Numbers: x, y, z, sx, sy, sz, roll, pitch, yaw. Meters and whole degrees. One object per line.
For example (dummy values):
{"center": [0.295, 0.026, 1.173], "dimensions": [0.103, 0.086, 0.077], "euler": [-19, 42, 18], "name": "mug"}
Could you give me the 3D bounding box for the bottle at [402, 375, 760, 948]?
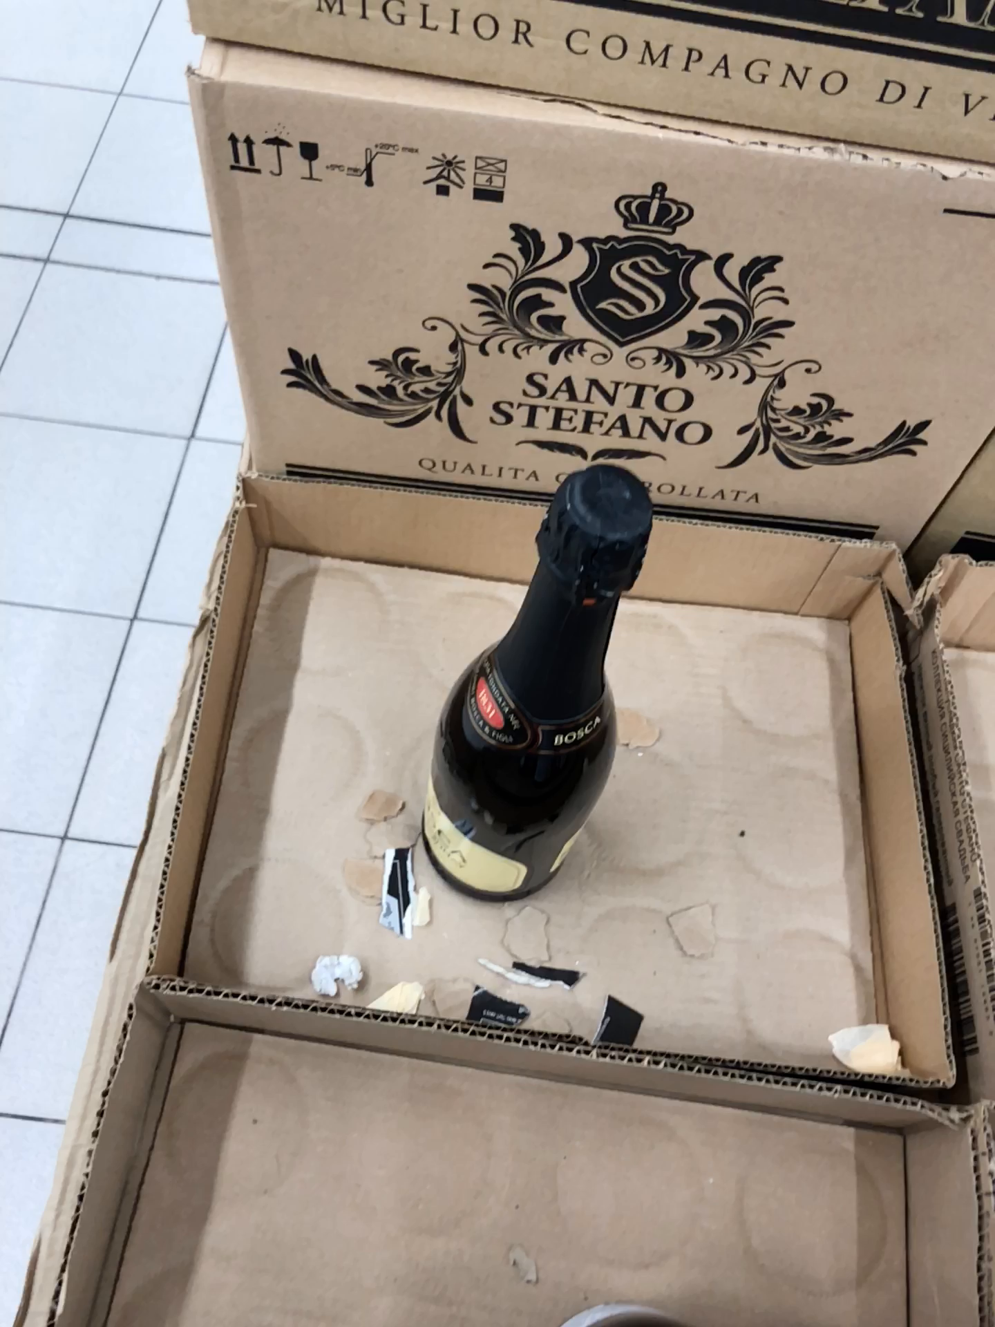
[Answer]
{"center": [0.013, 0.028, 0.462], "dimensions": [0.080, 0.309, 0.090], "euler": [-15, 64, -12], "name": "bottle"}
